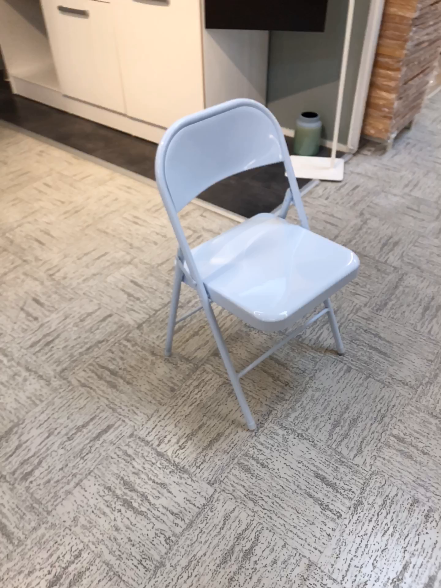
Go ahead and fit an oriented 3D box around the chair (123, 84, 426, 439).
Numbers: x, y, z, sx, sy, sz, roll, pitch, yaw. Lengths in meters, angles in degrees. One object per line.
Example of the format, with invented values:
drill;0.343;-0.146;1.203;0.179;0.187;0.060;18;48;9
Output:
chair;0.128;-0.104;1.354;0.513;0.706;0.480;-32;50;-31
